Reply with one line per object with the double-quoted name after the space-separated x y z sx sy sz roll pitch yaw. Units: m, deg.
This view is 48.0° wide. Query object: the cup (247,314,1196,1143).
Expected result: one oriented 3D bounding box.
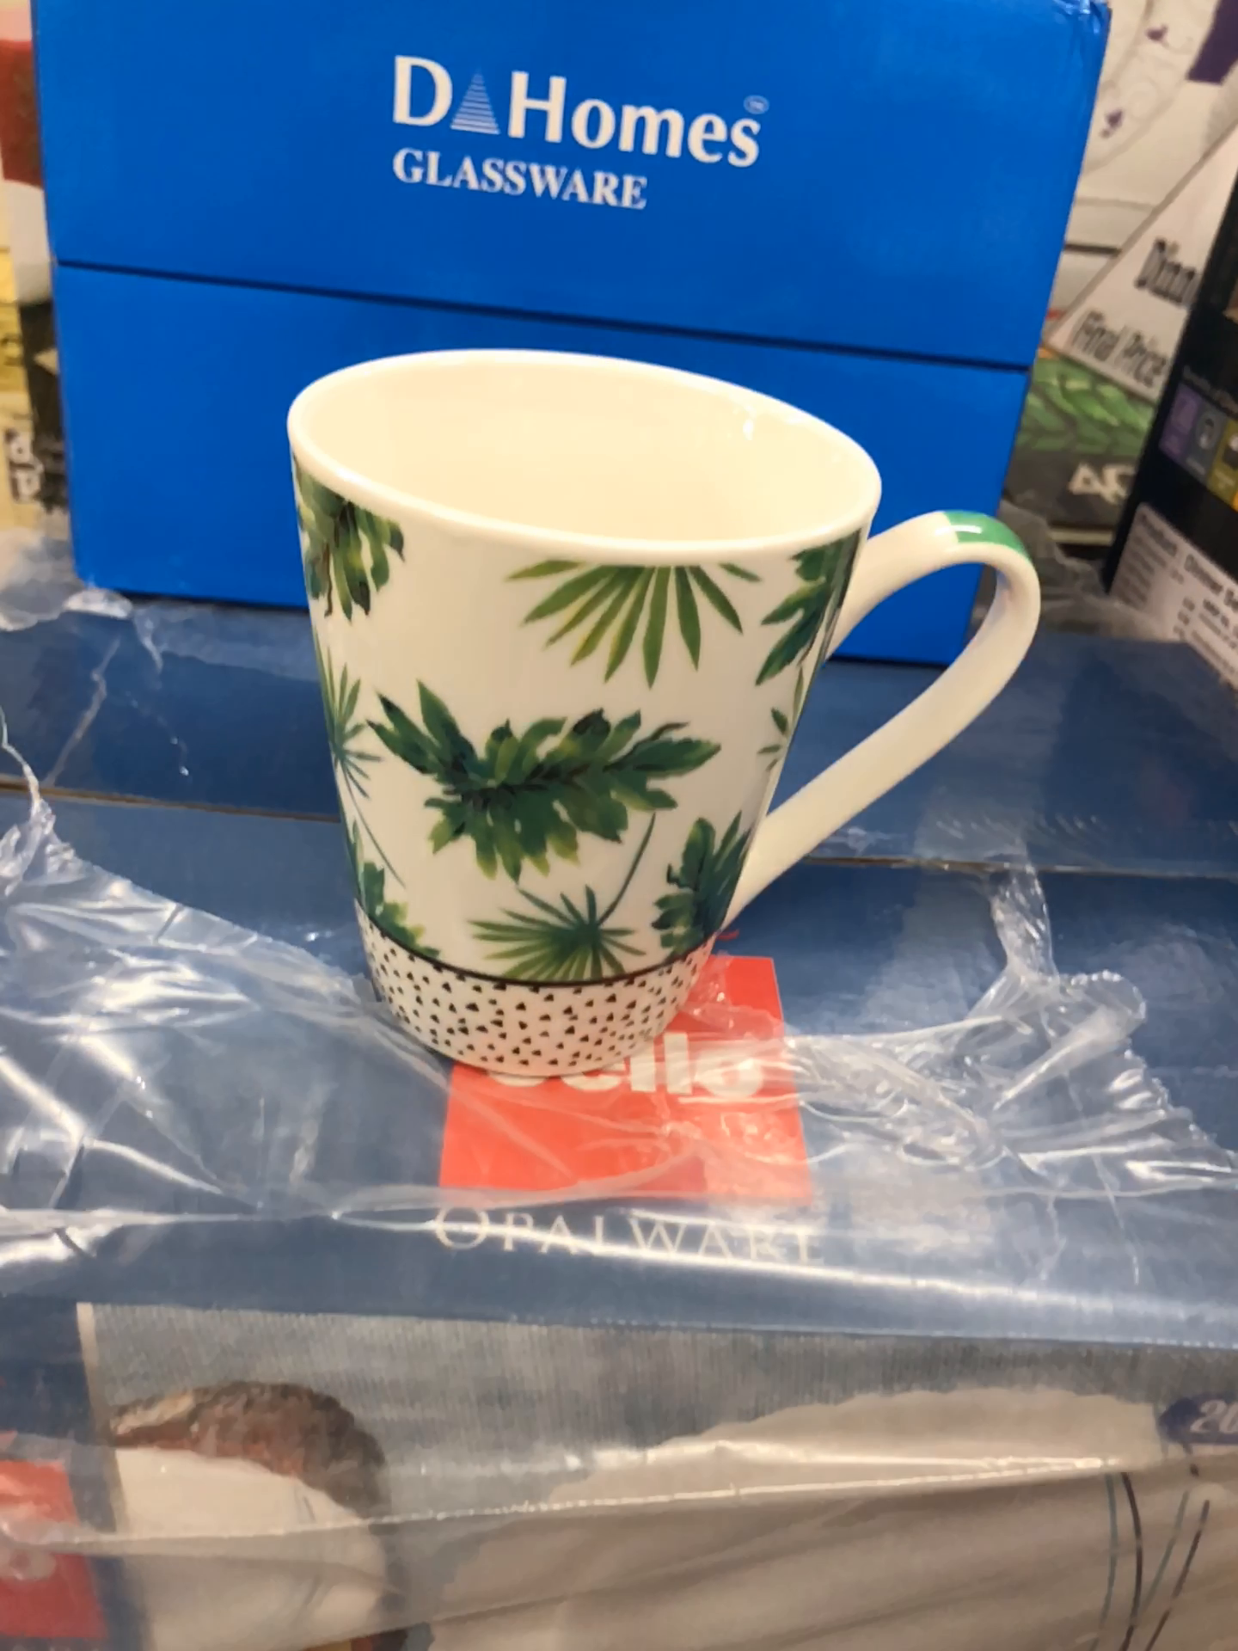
0.004 -0.019 0.229 0.120 0.099 0.080 -3 37 -14 "cup"
